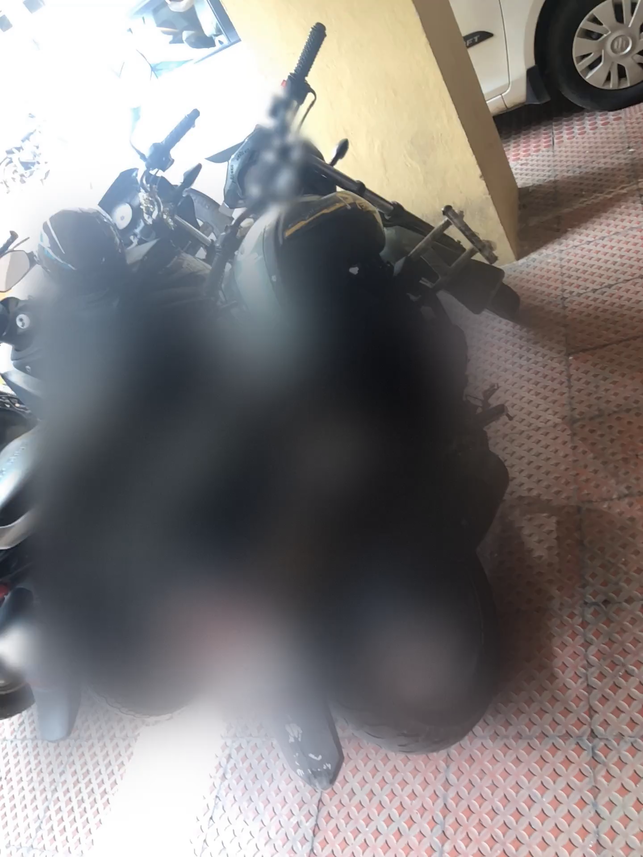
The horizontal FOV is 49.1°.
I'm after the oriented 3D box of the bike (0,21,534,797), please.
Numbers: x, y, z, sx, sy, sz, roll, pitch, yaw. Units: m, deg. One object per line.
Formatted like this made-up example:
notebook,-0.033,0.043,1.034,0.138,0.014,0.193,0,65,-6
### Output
bike,-0.060,-0.174,1.877,0.739,1.090,1.816,-18,35,24
